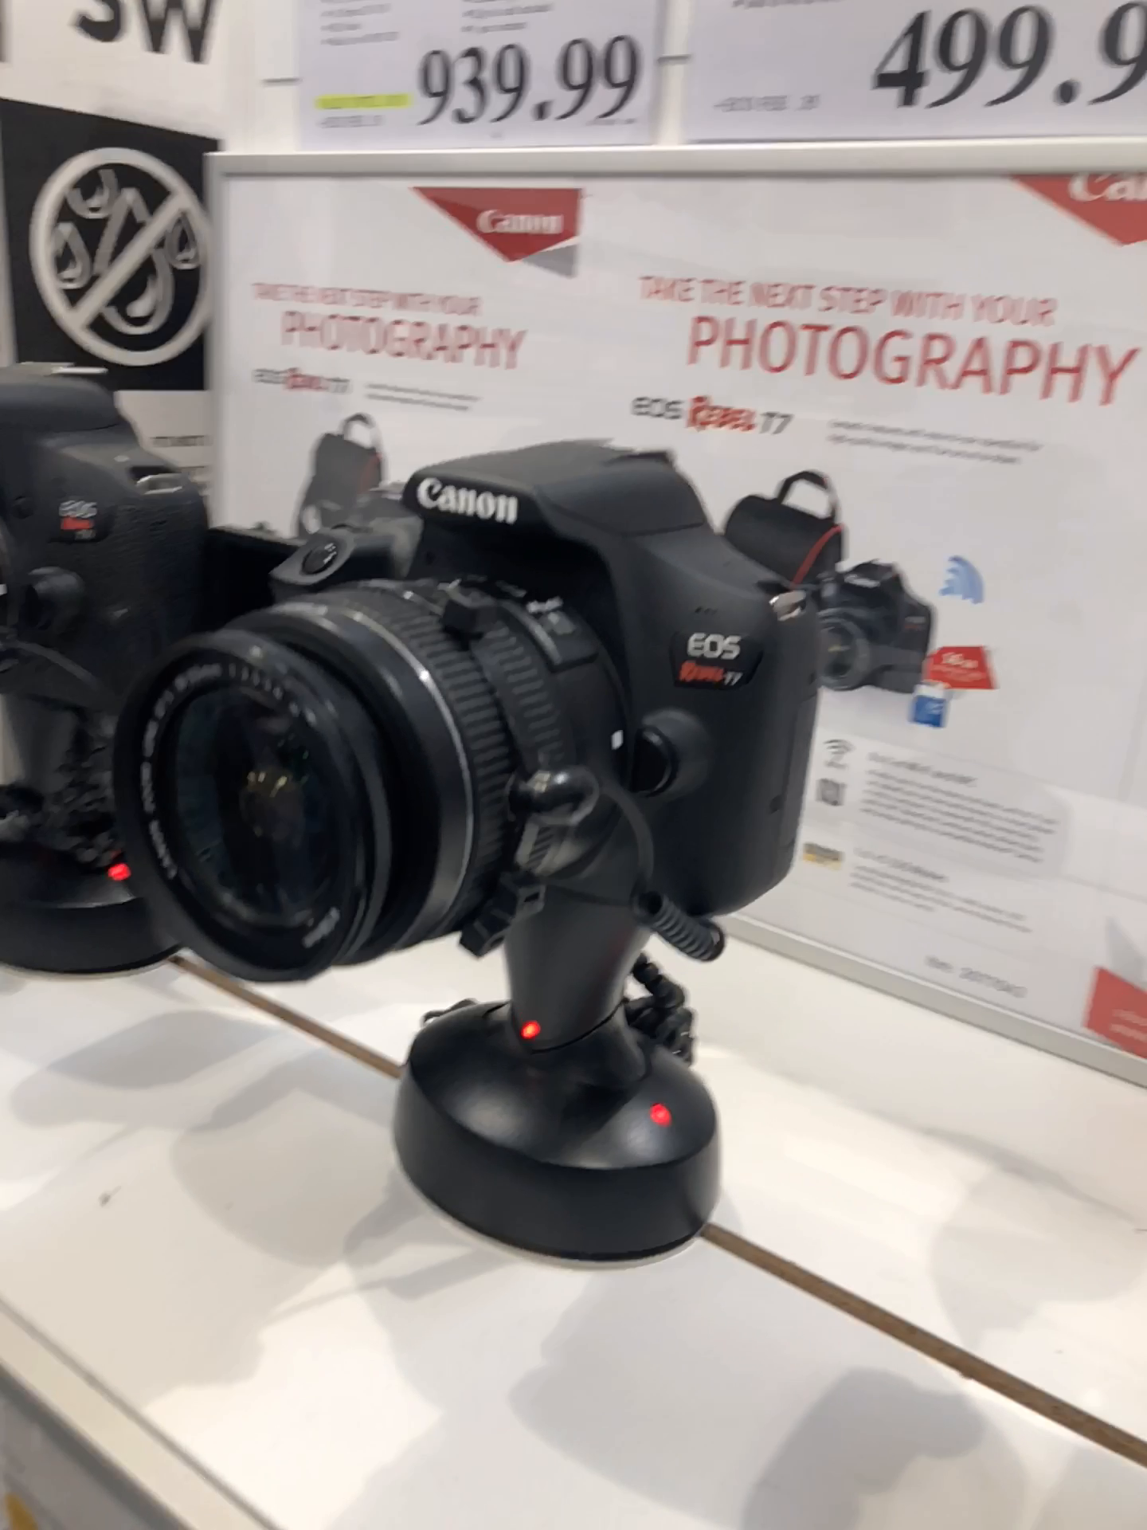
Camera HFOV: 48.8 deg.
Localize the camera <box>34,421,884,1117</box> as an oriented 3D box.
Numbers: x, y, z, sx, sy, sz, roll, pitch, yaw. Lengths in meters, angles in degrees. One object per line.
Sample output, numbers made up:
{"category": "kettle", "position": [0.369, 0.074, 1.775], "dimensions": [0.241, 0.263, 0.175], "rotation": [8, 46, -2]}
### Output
{"category": "camera", "position": [-0.023, -0.017, 0.278], "dimensions": [0.130, 0.099, 0.120], "rotation": [16, 21, 31]}
